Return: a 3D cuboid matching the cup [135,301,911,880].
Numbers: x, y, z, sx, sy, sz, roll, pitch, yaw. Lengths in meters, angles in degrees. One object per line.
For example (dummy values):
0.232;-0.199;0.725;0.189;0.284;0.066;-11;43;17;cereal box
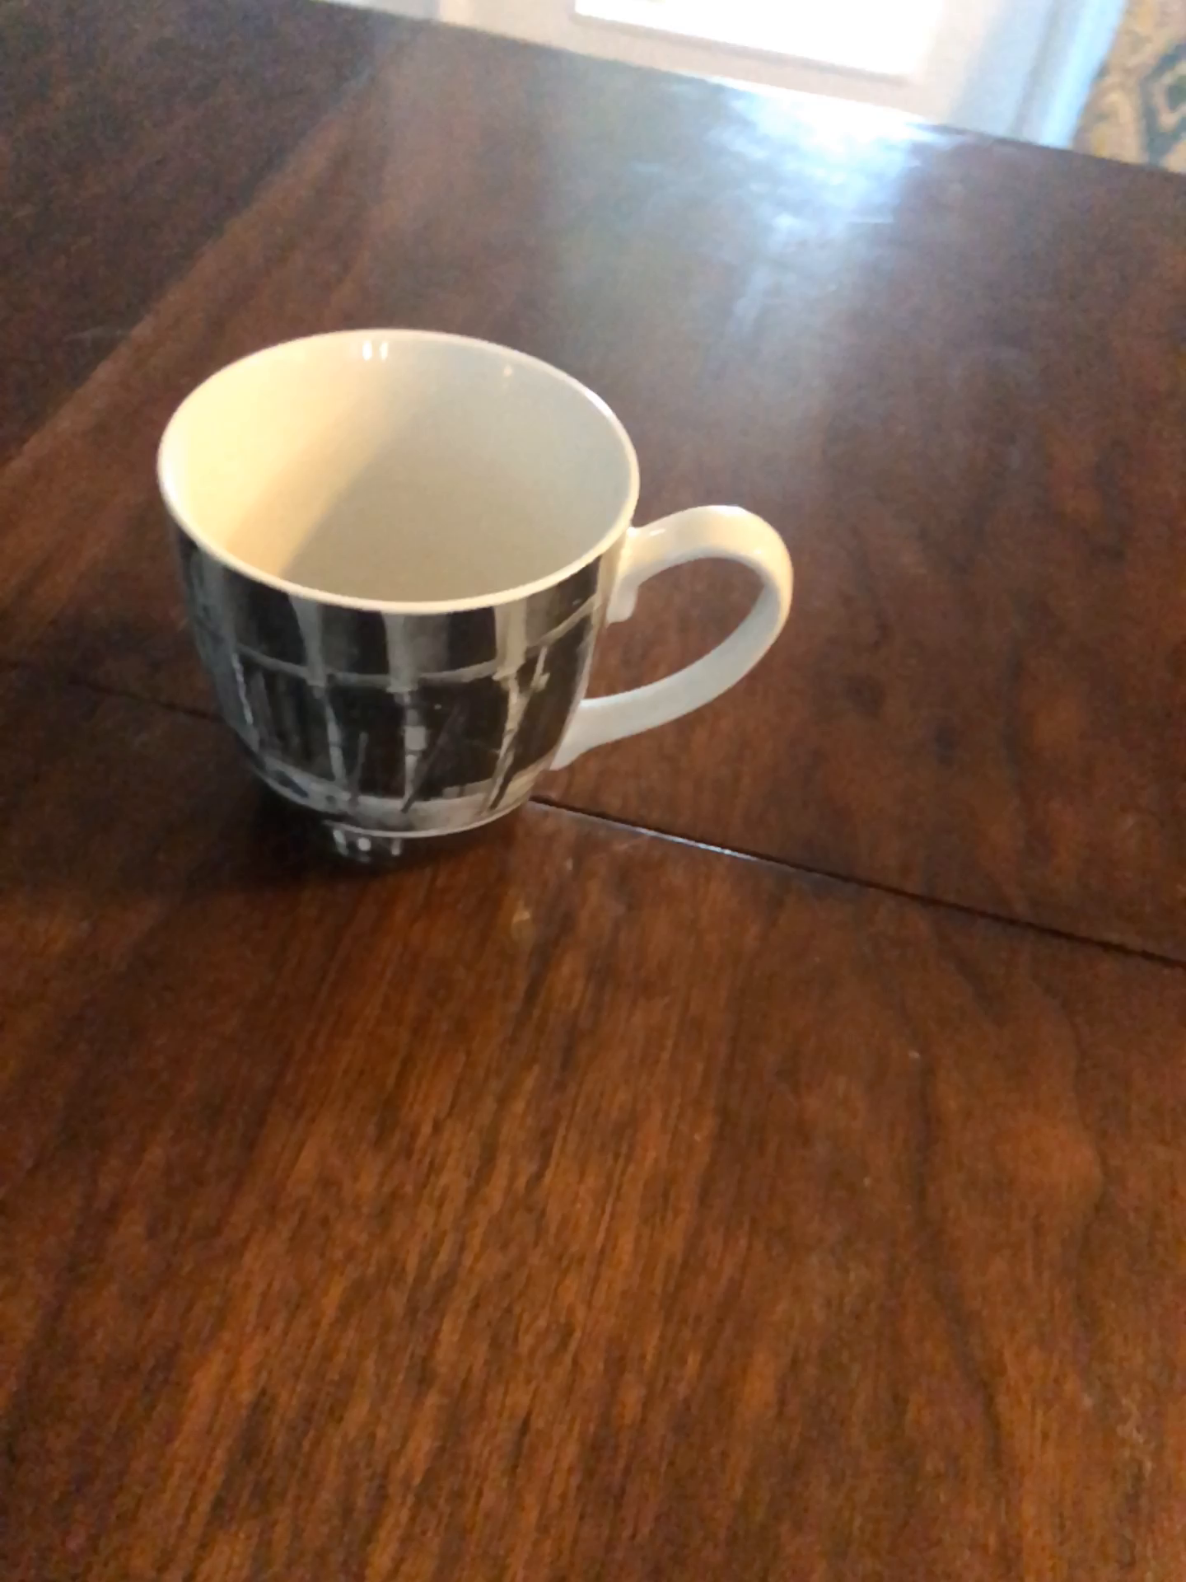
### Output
-0.017;-0.045;0.301;0.140;0.080;0.100;1;49;-6;cup
